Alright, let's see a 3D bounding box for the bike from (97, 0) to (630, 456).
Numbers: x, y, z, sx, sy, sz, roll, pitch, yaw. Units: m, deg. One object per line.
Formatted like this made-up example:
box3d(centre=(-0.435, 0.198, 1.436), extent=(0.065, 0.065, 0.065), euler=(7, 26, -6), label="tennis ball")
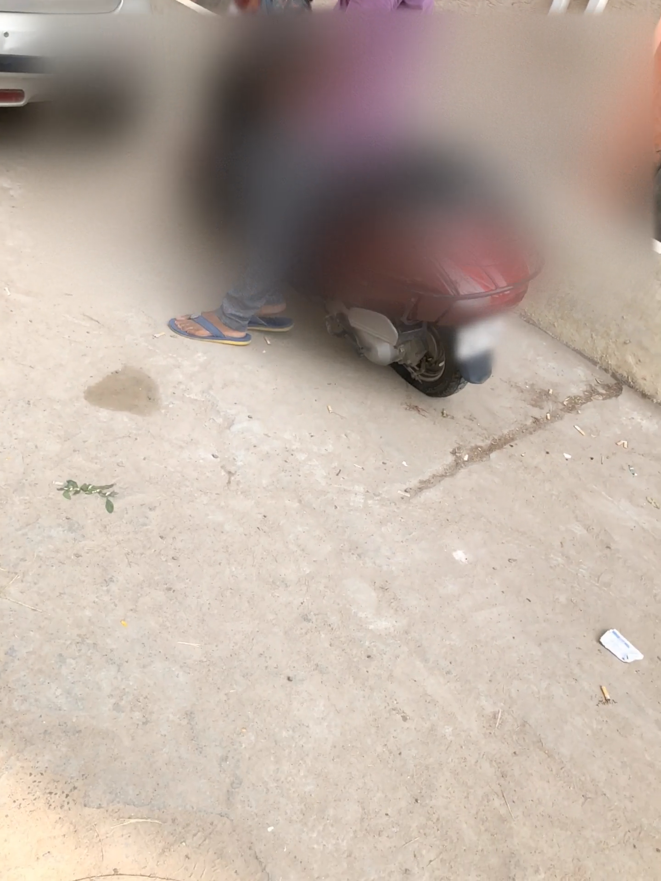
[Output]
box3d(centre=(-0.066, -0.901, 2.455), extent=(0.633, 1.071, 1.579), euler=(-20, 49, -42), label="bike")
